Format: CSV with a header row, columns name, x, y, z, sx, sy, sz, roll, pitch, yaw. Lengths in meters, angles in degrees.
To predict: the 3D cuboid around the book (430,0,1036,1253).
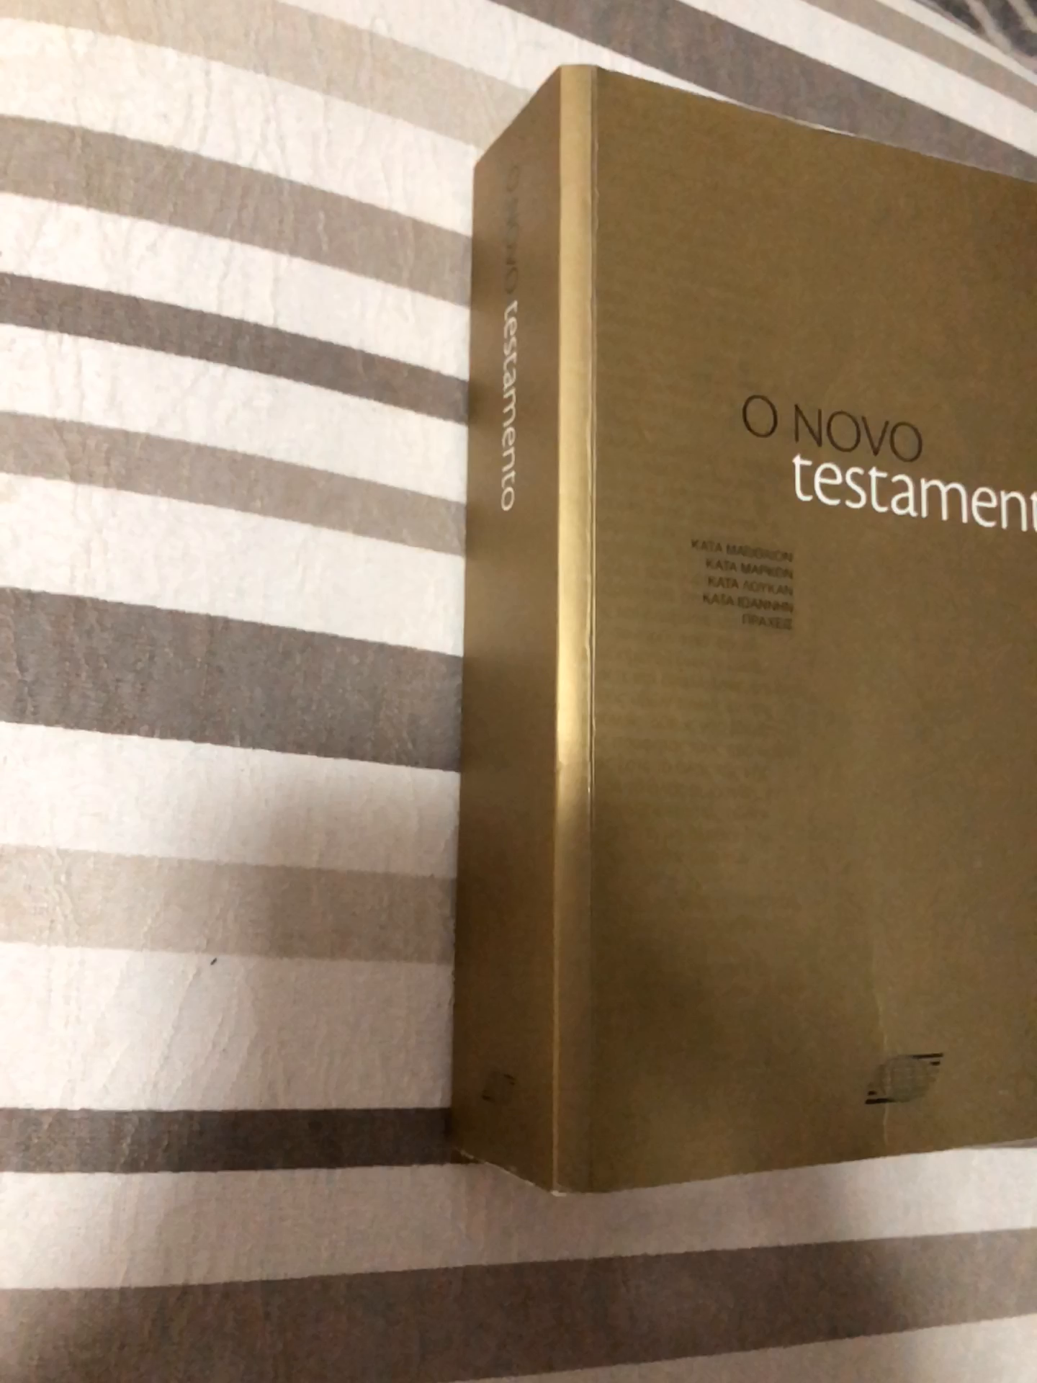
name,x,y,z,sx,sy,sz,roll,pitch,yaw
book,0.066,-0.017,0.256,0.160,0.050,0.230,4,79,-24
